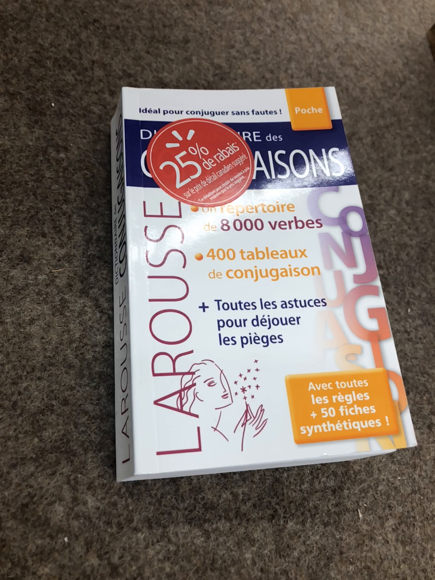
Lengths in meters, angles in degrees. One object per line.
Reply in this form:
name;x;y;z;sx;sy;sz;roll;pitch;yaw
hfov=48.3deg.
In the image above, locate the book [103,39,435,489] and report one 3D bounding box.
book;0.010;-0.016;0.240;0.124;0.059;0.199;2;65;-18
